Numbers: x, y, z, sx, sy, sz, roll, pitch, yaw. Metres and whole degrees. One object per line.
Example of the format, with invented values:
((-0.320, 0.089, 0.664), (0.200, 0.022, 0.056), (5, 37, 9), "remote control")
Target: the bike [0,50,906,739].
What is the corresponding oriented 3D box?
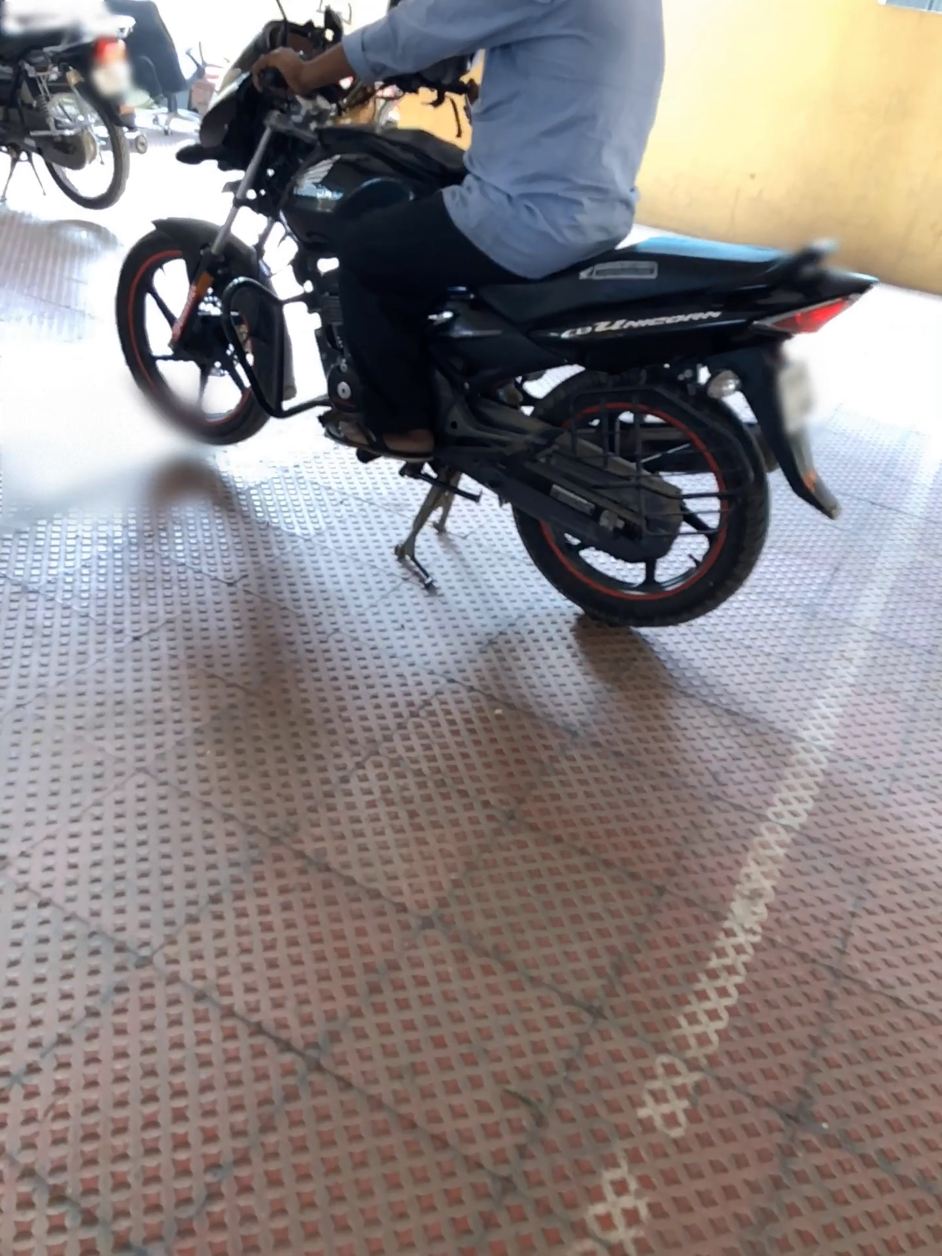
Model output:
((-0.145, -0.694, 2.481), (1.883, 1.009, 0.791), (23, 34, 23), "bike")
